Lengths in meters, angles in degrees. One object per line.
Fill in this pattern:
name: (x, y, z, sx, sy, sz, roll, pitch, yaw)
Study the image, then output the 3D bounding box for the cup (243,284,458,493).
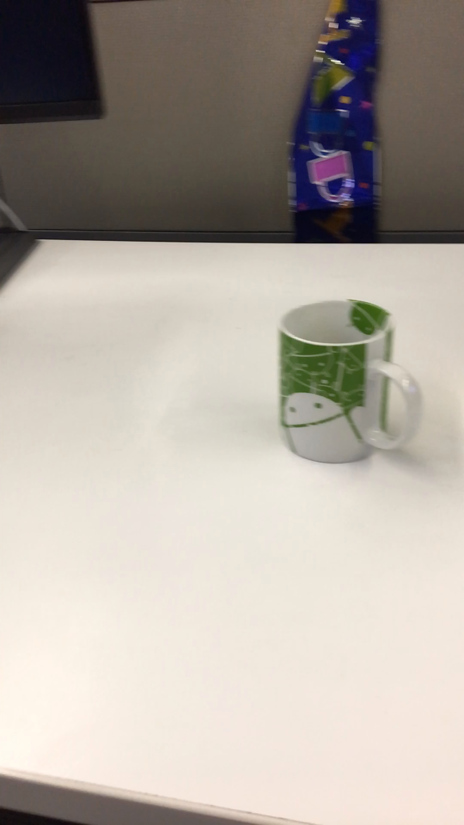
cup: (0.080, -0.022, 0.472, 0.110, 0.090, 0.090, 17, 37, 30)
